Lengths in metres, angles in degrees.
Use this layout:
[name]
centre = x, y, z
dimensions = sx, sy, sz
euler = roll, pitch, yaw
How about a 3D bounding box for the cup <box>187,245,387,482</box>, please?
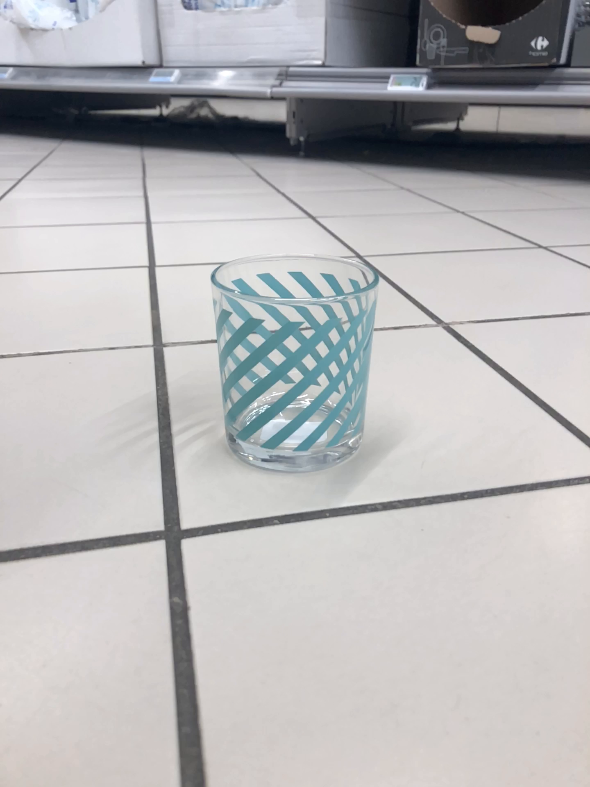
[cup]
centre = 0.001, -0.018, 0.297
dimensions = 0.075, 0.080, 0.080
euler = 0, 25, 0
